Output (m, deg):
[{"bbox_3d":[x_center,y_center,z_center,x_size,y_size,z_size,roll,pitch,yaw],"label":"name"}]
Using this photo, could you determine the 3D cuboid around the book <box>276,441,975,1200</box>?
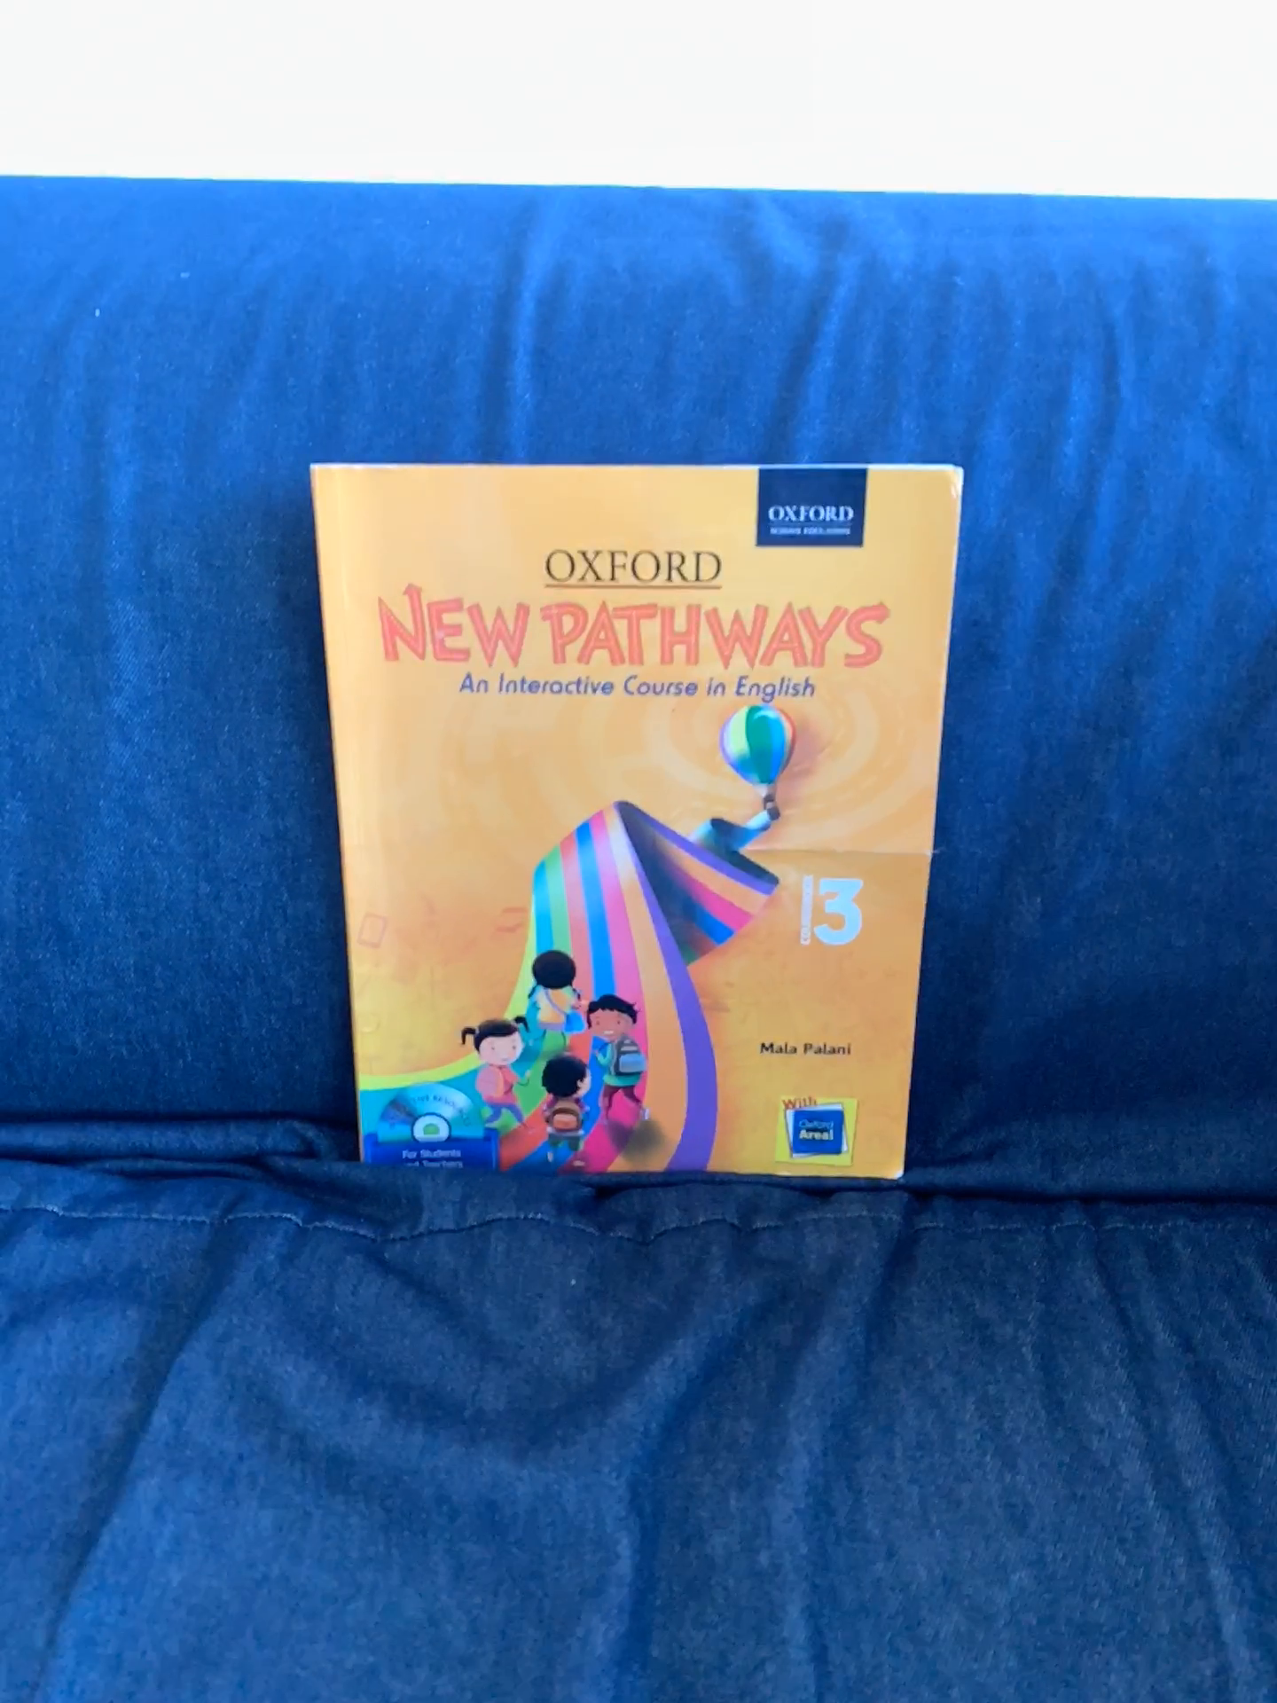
[{"bbox_3d":[-0.007,-0.002,0.488,0.230,0.283,0.030,1,19,0],"label":"book"}]
